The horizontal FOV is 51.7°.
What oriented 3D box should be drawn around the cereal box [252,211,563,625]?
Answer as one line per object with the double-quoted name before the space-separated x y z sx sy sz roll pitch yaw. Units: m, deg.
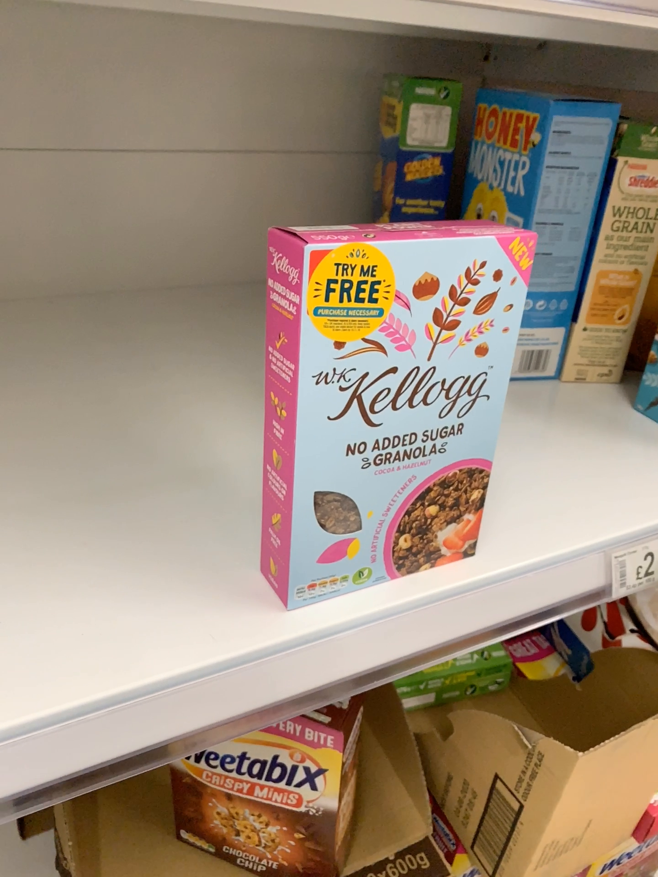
"cereal box" 0.042 -0.013 0.441 0.170 0.248 0.050 -10 32 -26
